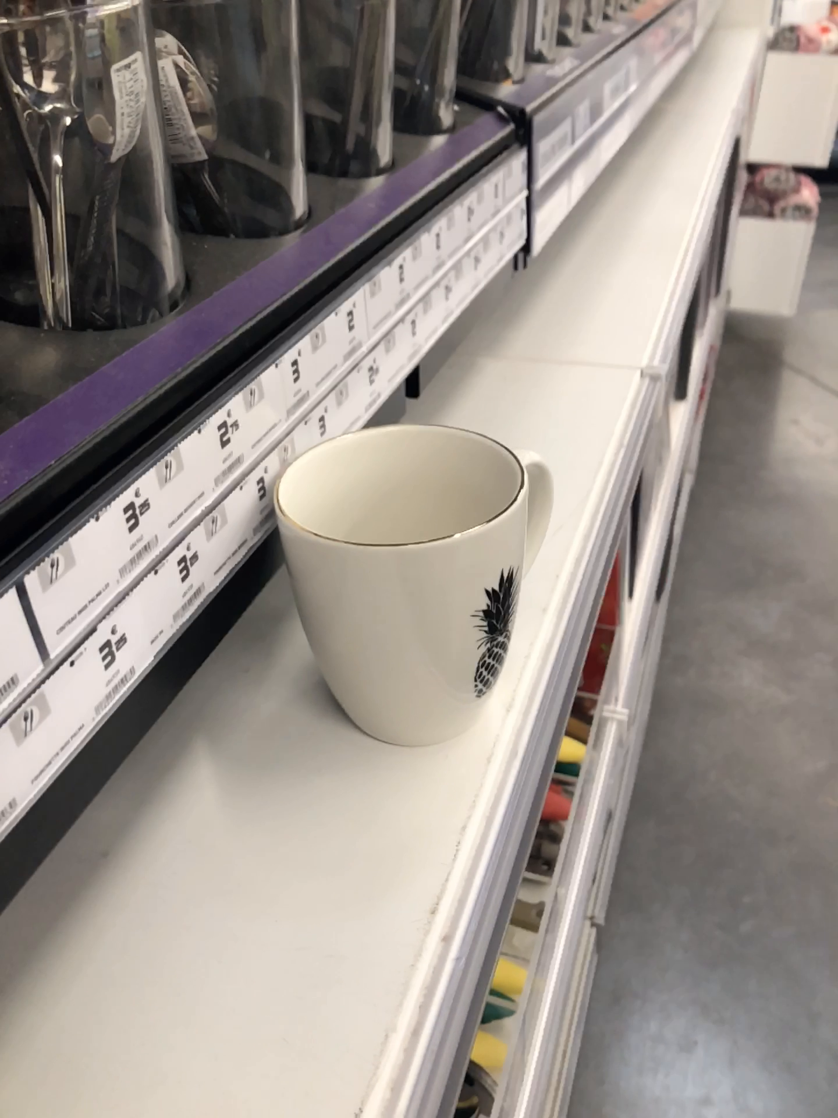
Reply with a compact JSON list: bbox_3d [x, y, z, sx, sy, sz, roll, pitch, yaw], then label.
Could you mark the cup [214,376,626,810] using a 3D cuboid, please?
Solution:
[{"bbox_3d":[0.003,0.006,0.341,0.115,0.093,0.082,-30,44,-34],"label":"cup"}]
